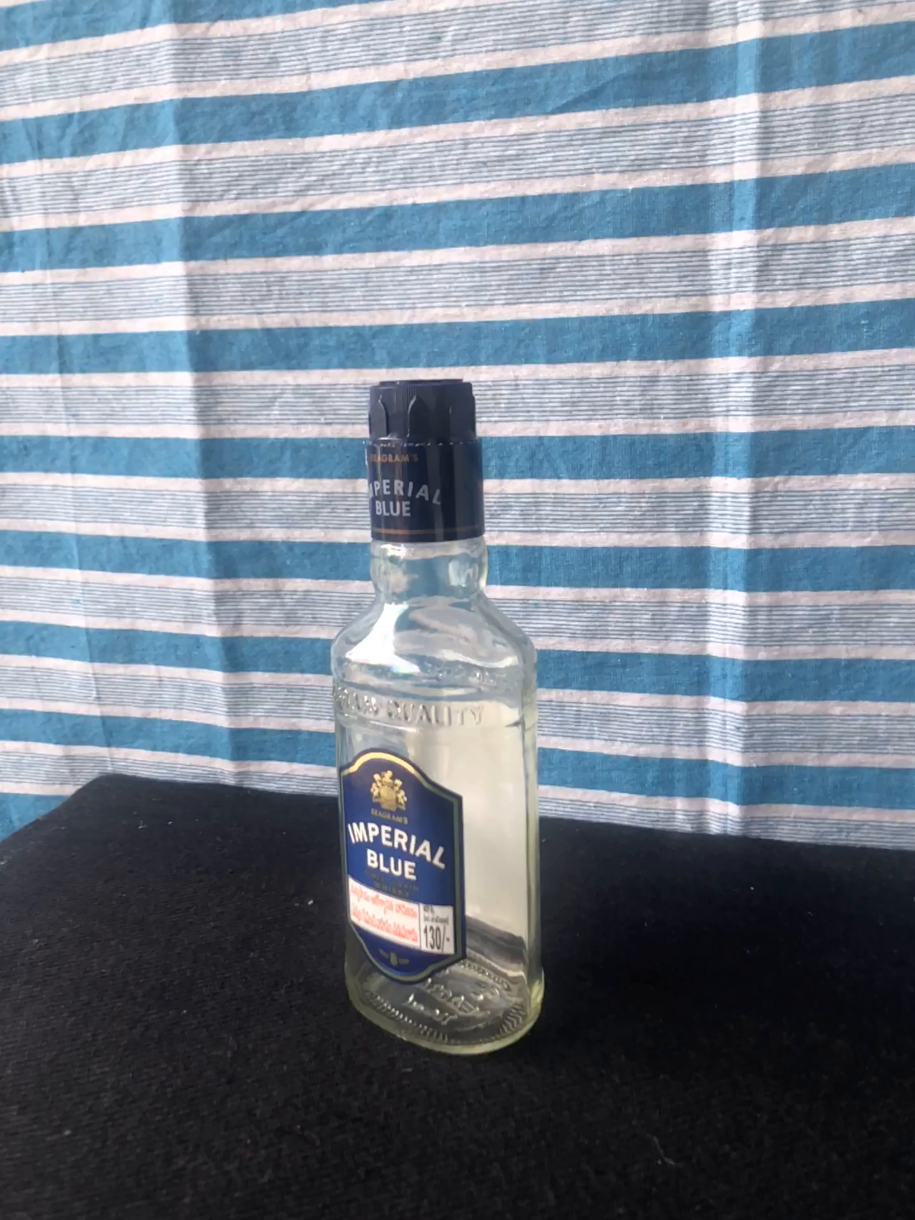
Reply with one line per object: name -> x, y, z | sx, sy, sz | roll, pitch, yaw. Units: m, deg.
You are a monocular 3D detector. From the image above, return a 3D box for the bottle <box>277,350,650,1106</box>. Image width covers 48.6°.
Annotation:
bottle -> 0.002, 0.023, 0.254 | 0.070, 0.169, 0.050 | 9, 17, 34
